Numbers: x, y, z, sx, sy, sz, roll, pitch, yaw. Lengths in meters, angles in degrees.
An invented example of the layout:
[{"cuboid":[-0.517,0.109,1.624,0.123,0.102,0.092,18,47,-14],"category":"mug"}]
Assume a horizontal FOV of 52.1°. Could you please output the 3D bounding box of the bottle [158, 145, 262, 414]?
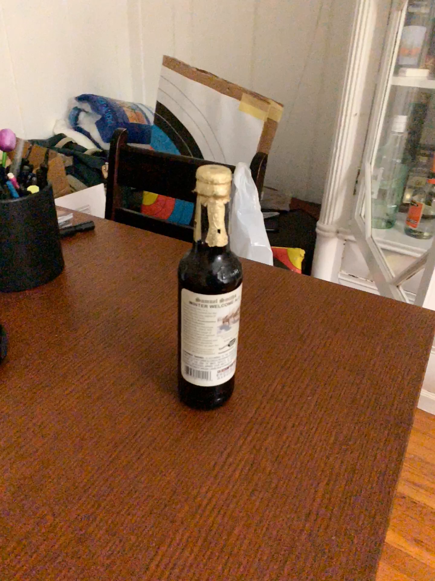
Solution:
[{"cuboid":[-0.006,-0.002,0.398,0.070,0.229,0.070,2,31,-1],"category":"bottle"}]
